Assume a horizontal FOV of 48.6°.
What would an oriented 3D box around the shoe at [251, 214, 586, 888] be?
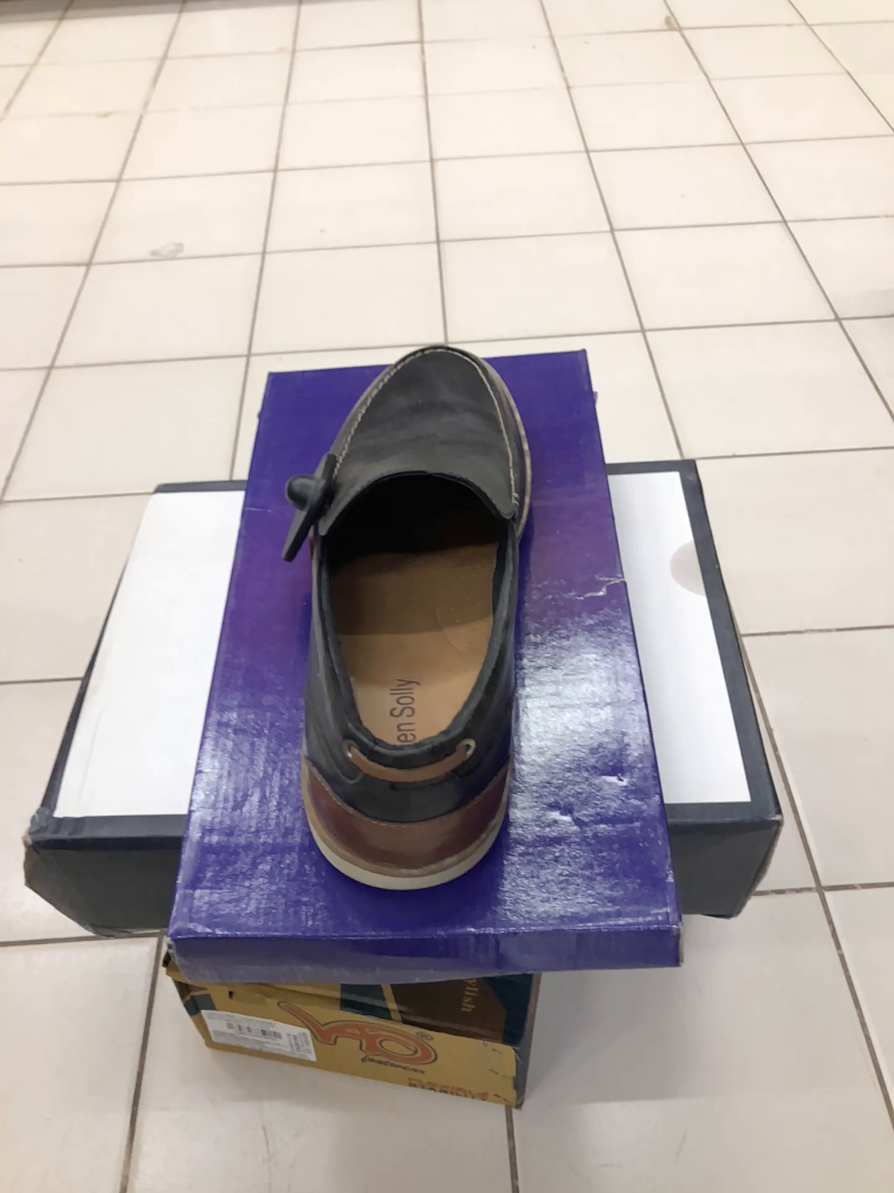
[{"bbox_3d":[-0.011,-0.040,0.436,0.100,0.109,0.302,-2,48,0],"label":"shoe"}]
